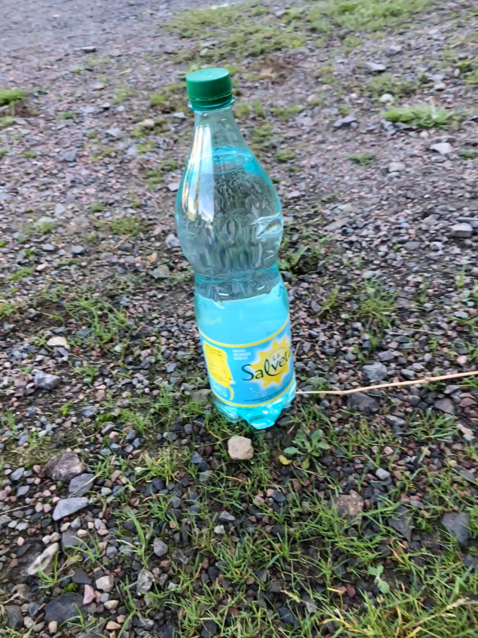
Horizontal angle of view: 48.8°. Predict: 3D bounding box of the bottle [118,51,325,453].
[{"bbox_3d":[0.001,-0.041,0.430,0.090,0.298,0.100,-31,43,-27],"label":"bottle"}]
